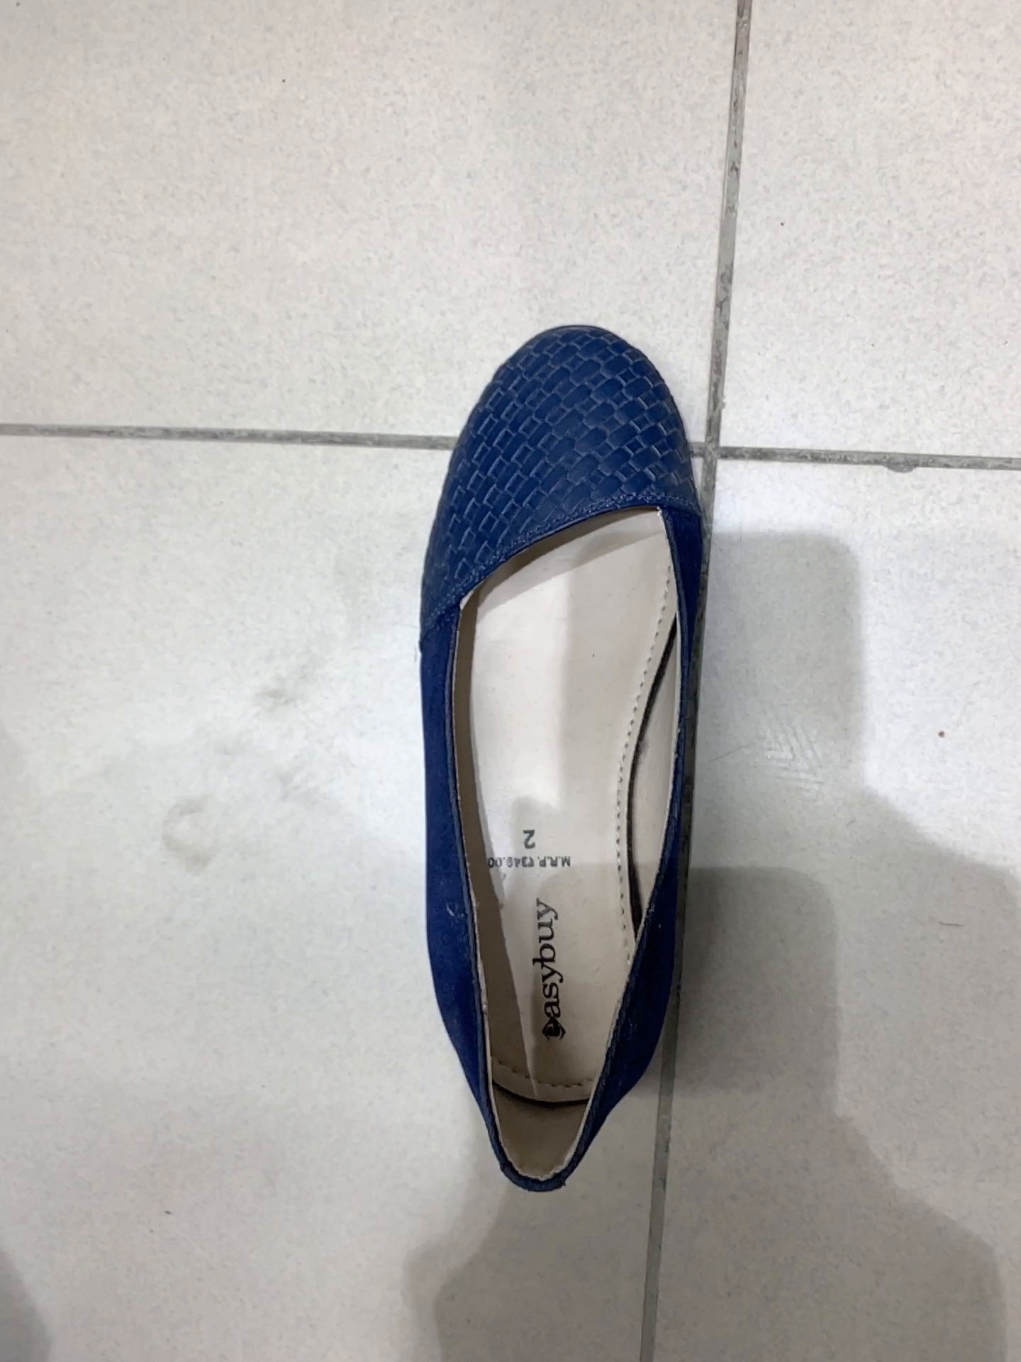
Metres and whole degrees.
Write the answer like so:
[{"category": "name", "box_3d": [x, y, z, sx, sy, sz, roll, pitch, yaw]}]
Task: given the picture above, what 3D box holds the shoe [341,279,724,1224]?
[{"category": "shoe", "box_3d": [0.009, 0.017, 0.284, 0.090, 0.060, 0.220, -1, 90, 11]}]
